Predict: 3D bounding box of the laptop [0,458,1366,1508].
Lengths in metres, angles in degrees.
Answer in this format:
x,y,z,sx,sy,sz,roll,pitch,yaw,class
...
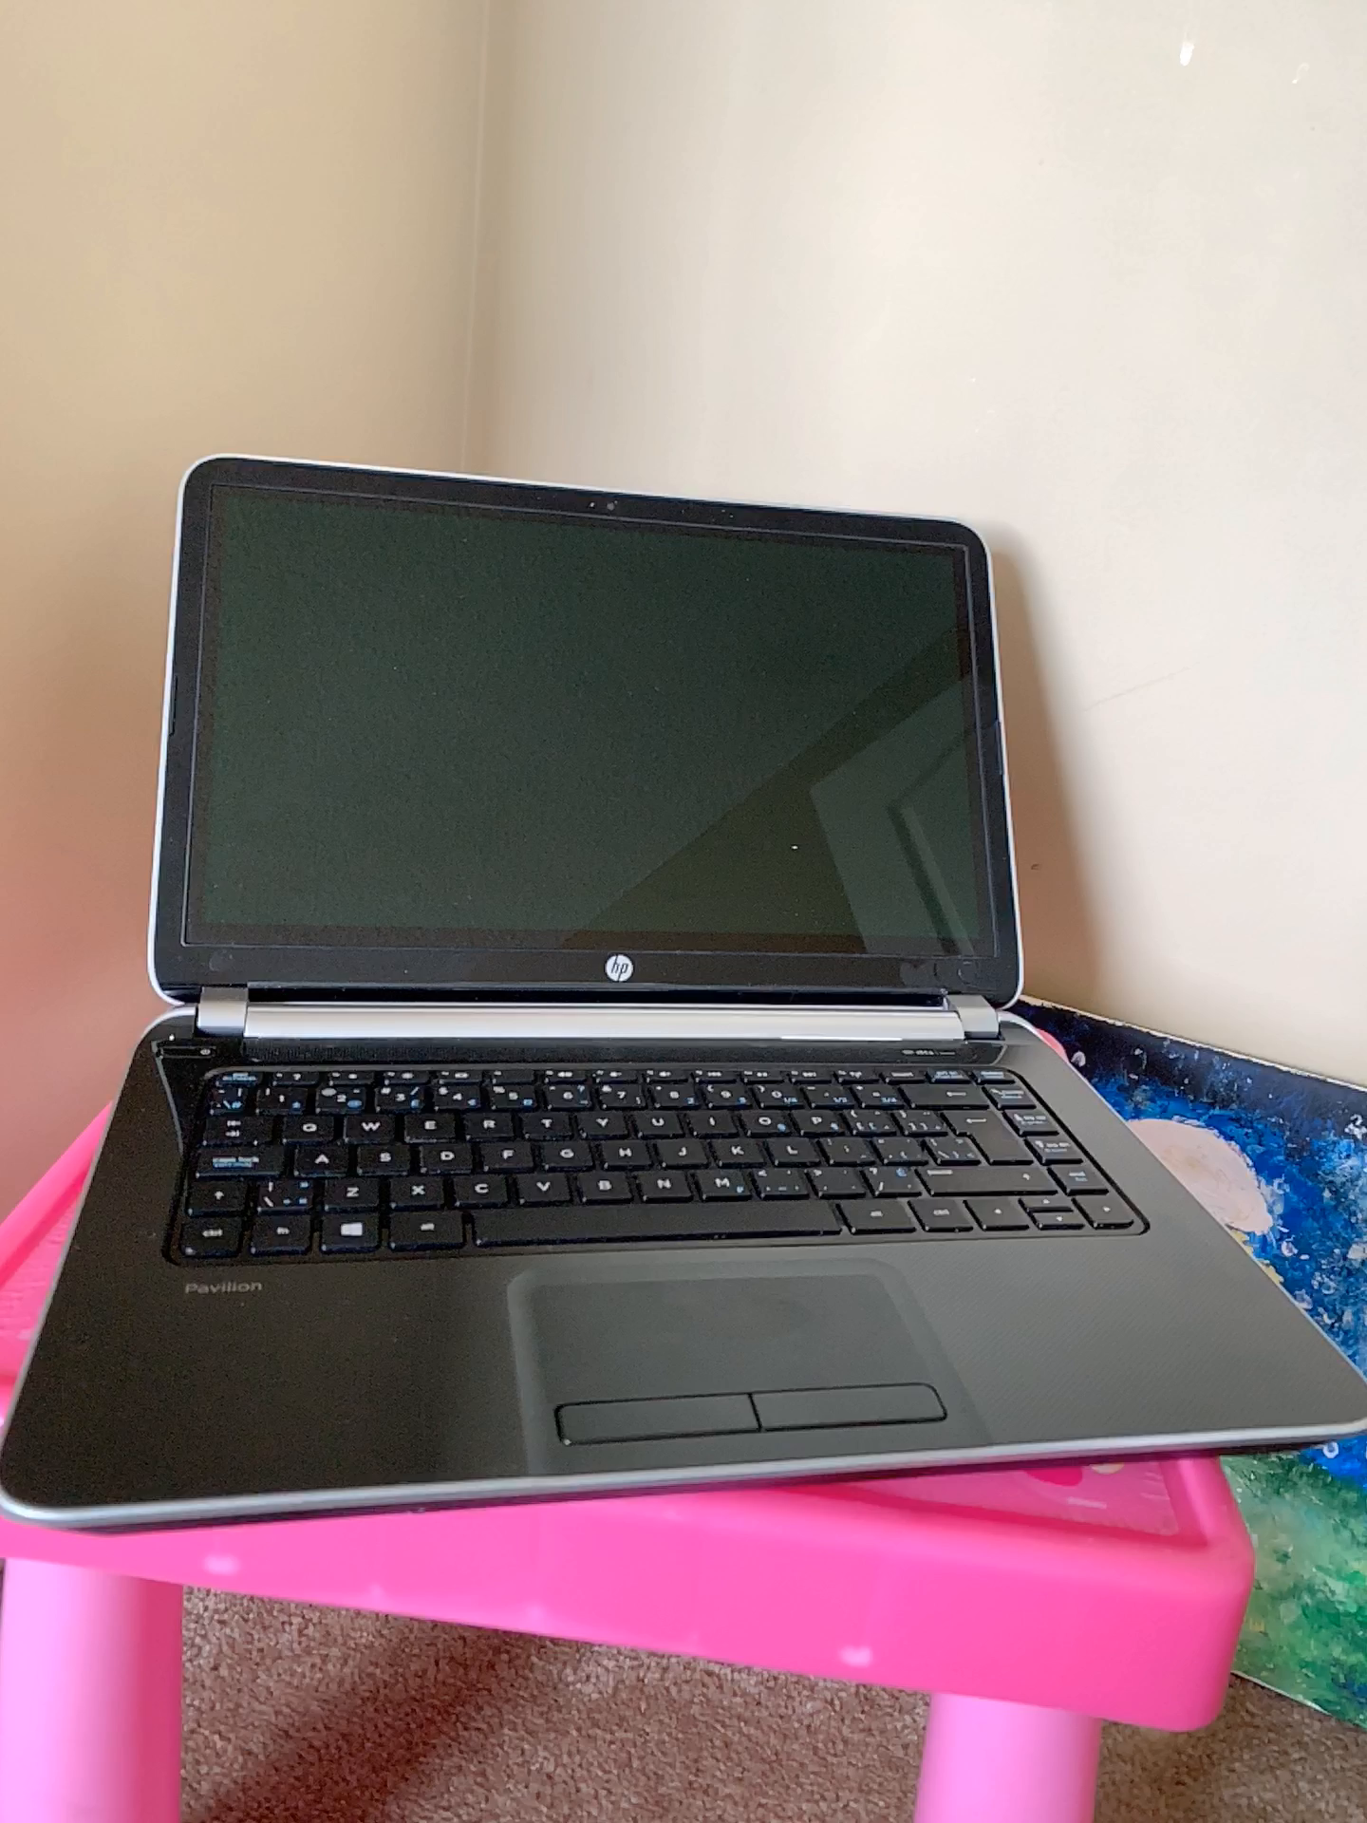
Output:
x,y,z,sx,sy,sz,roll,pitch,yaw,class
-0.012,-0.015,0.390,0.274,0.161,0.272,1,23,-13,laptop
